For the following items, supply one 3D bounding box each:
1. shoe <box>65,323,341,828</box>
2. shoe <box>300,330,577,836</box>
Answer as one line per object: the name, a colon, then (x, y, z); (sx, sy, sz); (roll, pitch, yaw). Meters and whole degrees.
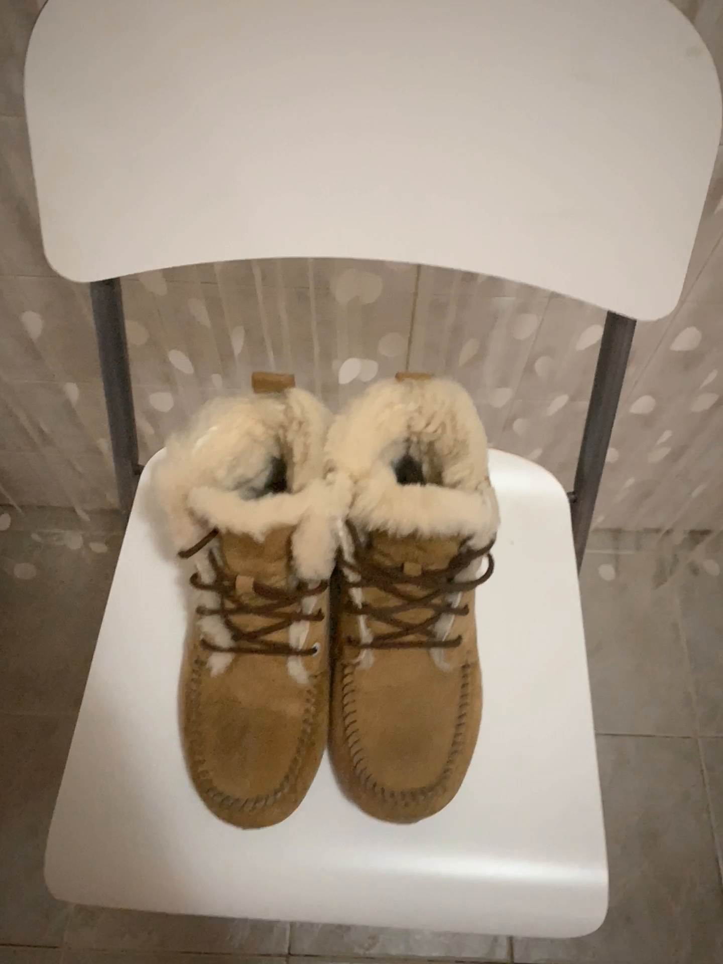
shoe: (-0.068, 0.058, 0.430); (0.106, 0.156, 0.252); (1, 62, -1)
shoe: (0.031, 0.063, 0.430); (0.113, 0.157, 0.252); (1, 62, -1)
